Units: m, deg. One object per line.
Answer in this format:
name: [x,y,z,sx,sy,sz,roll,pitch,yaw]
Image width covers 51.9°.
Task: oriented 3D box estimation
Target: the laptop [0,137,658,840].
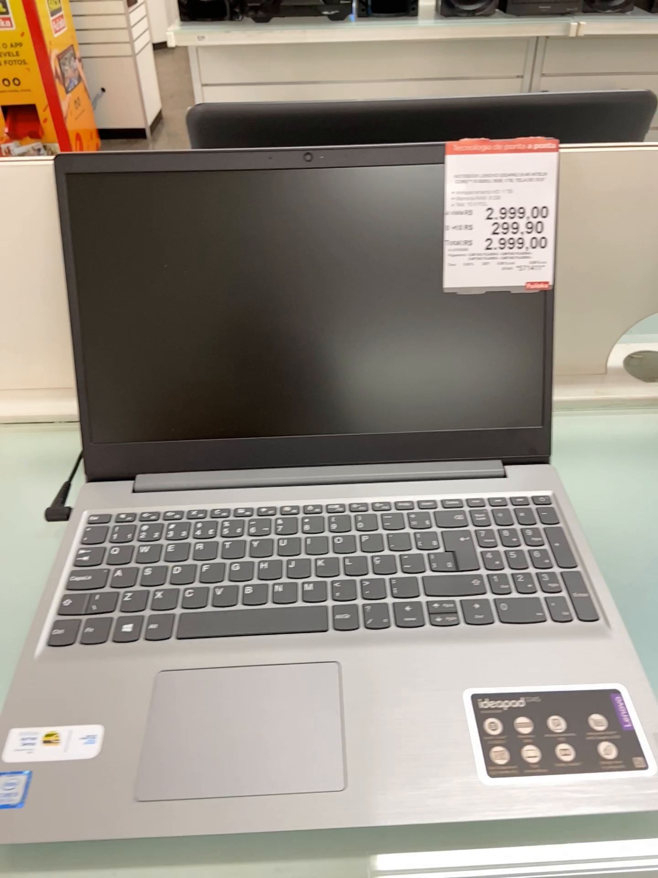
laptop: [-0.008,-0.014,0.400,0.353,0.195,0.371,-2,40,-1]
